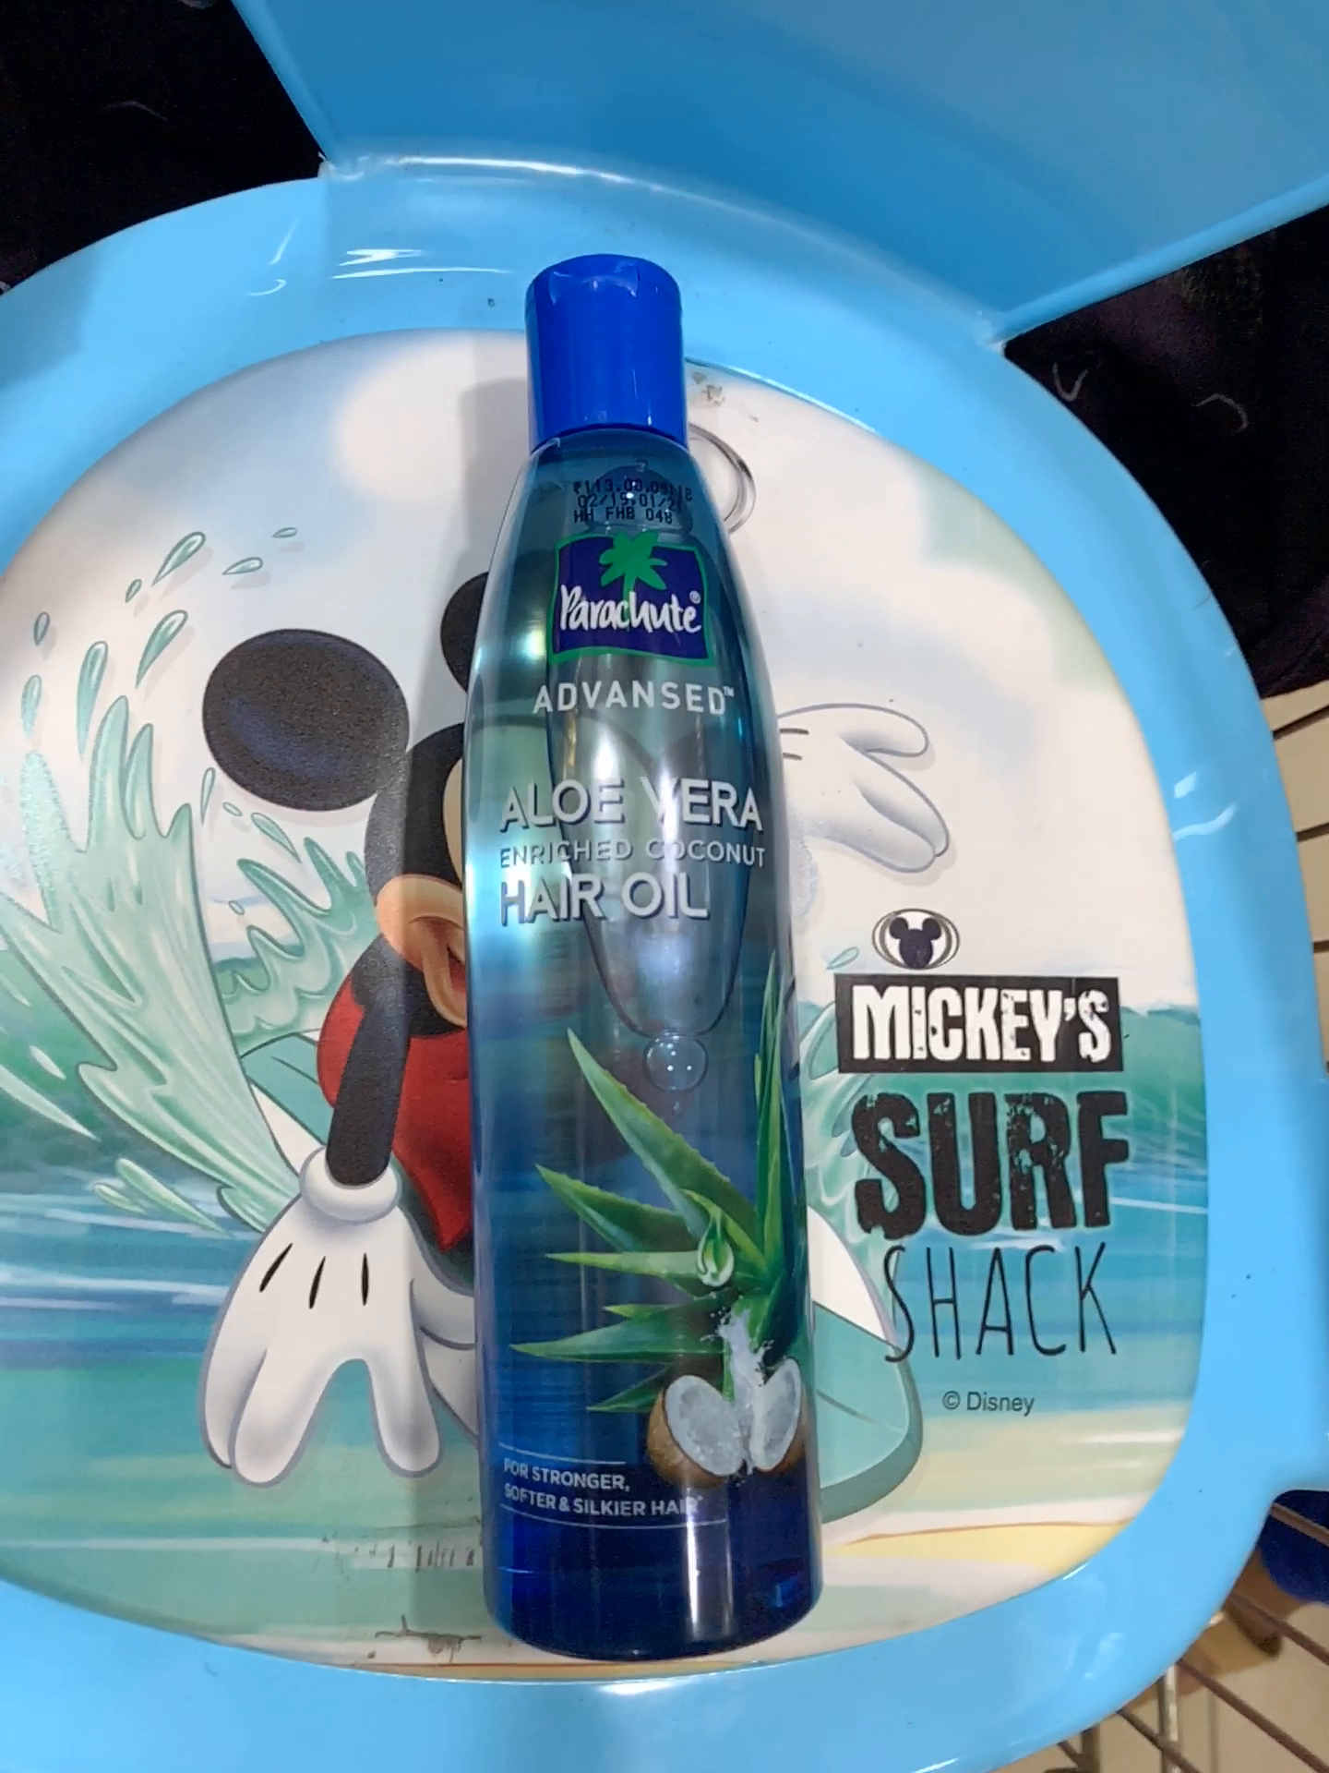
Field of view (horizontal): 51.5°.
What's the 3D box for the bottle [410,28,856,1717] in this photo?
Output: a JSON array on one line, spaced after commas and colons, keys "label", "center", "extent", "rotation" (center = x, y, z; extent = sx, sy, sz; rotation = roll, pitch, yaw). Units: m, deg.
[{"label": "bottle", "center": [-0.006, -0.004, 0.193], "extent": [0.050, 0.050, 0.200], "rotation": [2, 86, -15]}]
